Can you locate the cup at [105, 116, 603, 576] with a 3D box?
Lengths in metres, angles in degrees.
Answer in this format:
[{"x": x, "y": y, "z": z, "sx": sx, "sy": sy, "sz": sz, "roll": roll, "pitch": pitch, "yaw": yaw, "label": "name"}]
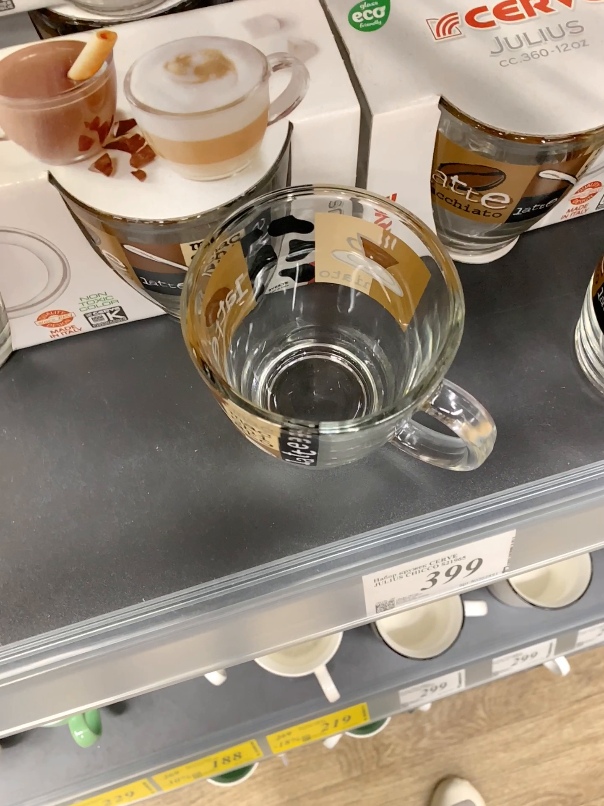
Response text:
[{"x": 0.015, "y": -0.014, "z": 0.222, "sx": 0.118, "sy": 0.086, "sz": 0.084, "roll": 37, "pitch": 74, "yaw": 12, "label": "cup"}]
